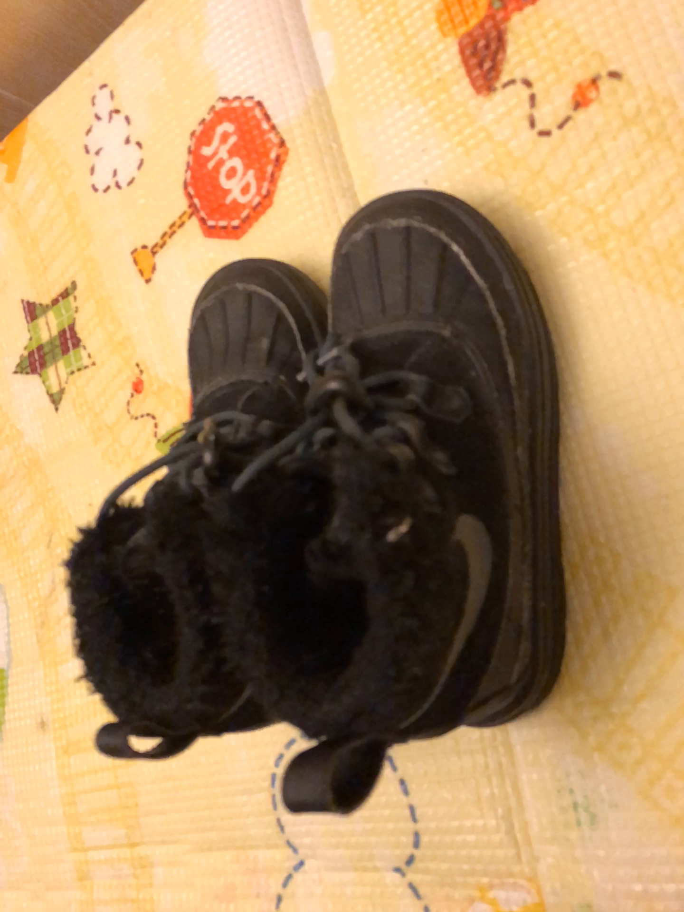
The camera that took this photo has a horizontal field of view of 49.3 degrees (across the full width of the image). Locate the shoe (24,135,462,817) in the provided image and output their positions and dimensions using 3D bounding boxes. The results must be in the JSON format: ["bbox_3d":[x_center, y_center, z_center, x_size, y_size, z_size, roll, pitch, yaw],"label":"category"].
[{"bbox_3d":[-0.038,0.011,0.298,0.090,0.119,0.210,-16,78,34],"label":"shoe"}]

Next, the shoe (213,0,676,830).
[{"bbox_3d":[0.036,-0.013,0.256,0.090,0.109,0.220,-12,80,34],"label":"shoe"}]
